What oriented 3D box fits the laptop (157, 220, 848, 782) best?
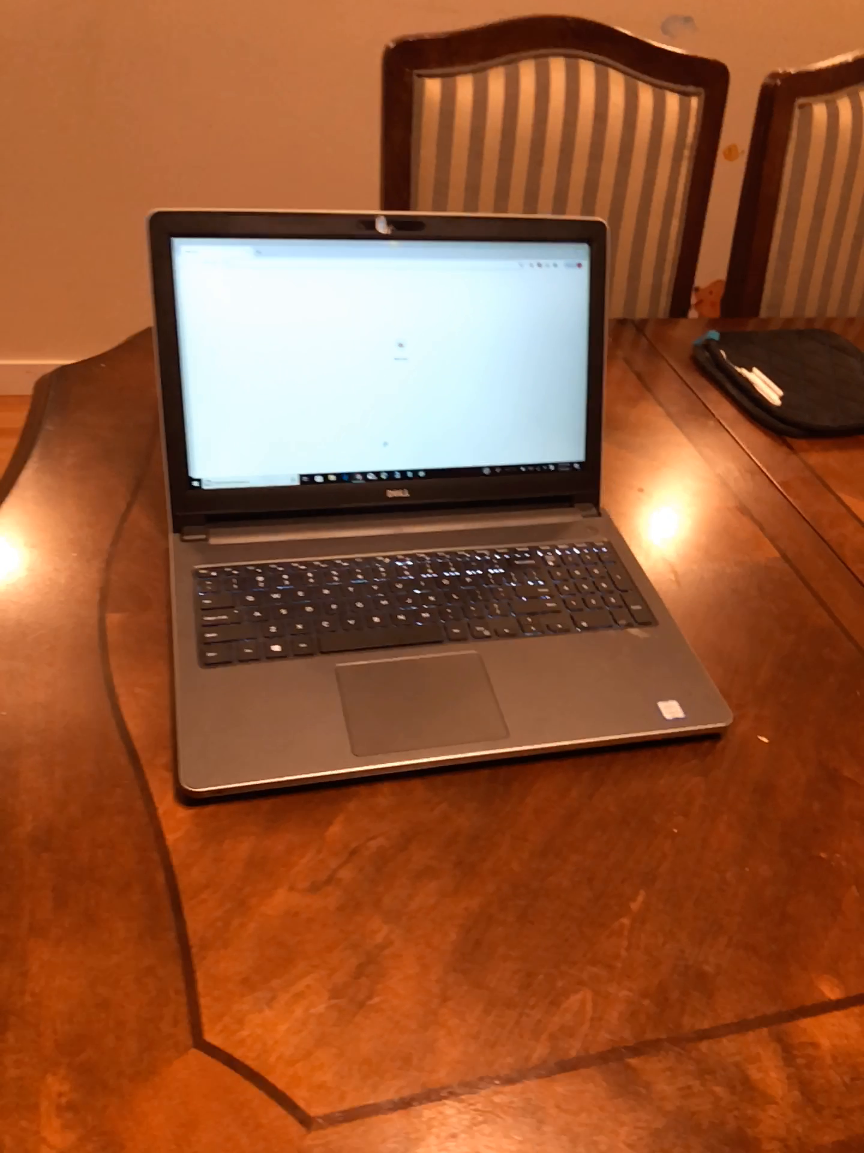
[{"bbox_3d":[0.003,-0.083,0.687,0.369,0.212,0.362,-4,41,-13],"label":"laptop"}]
